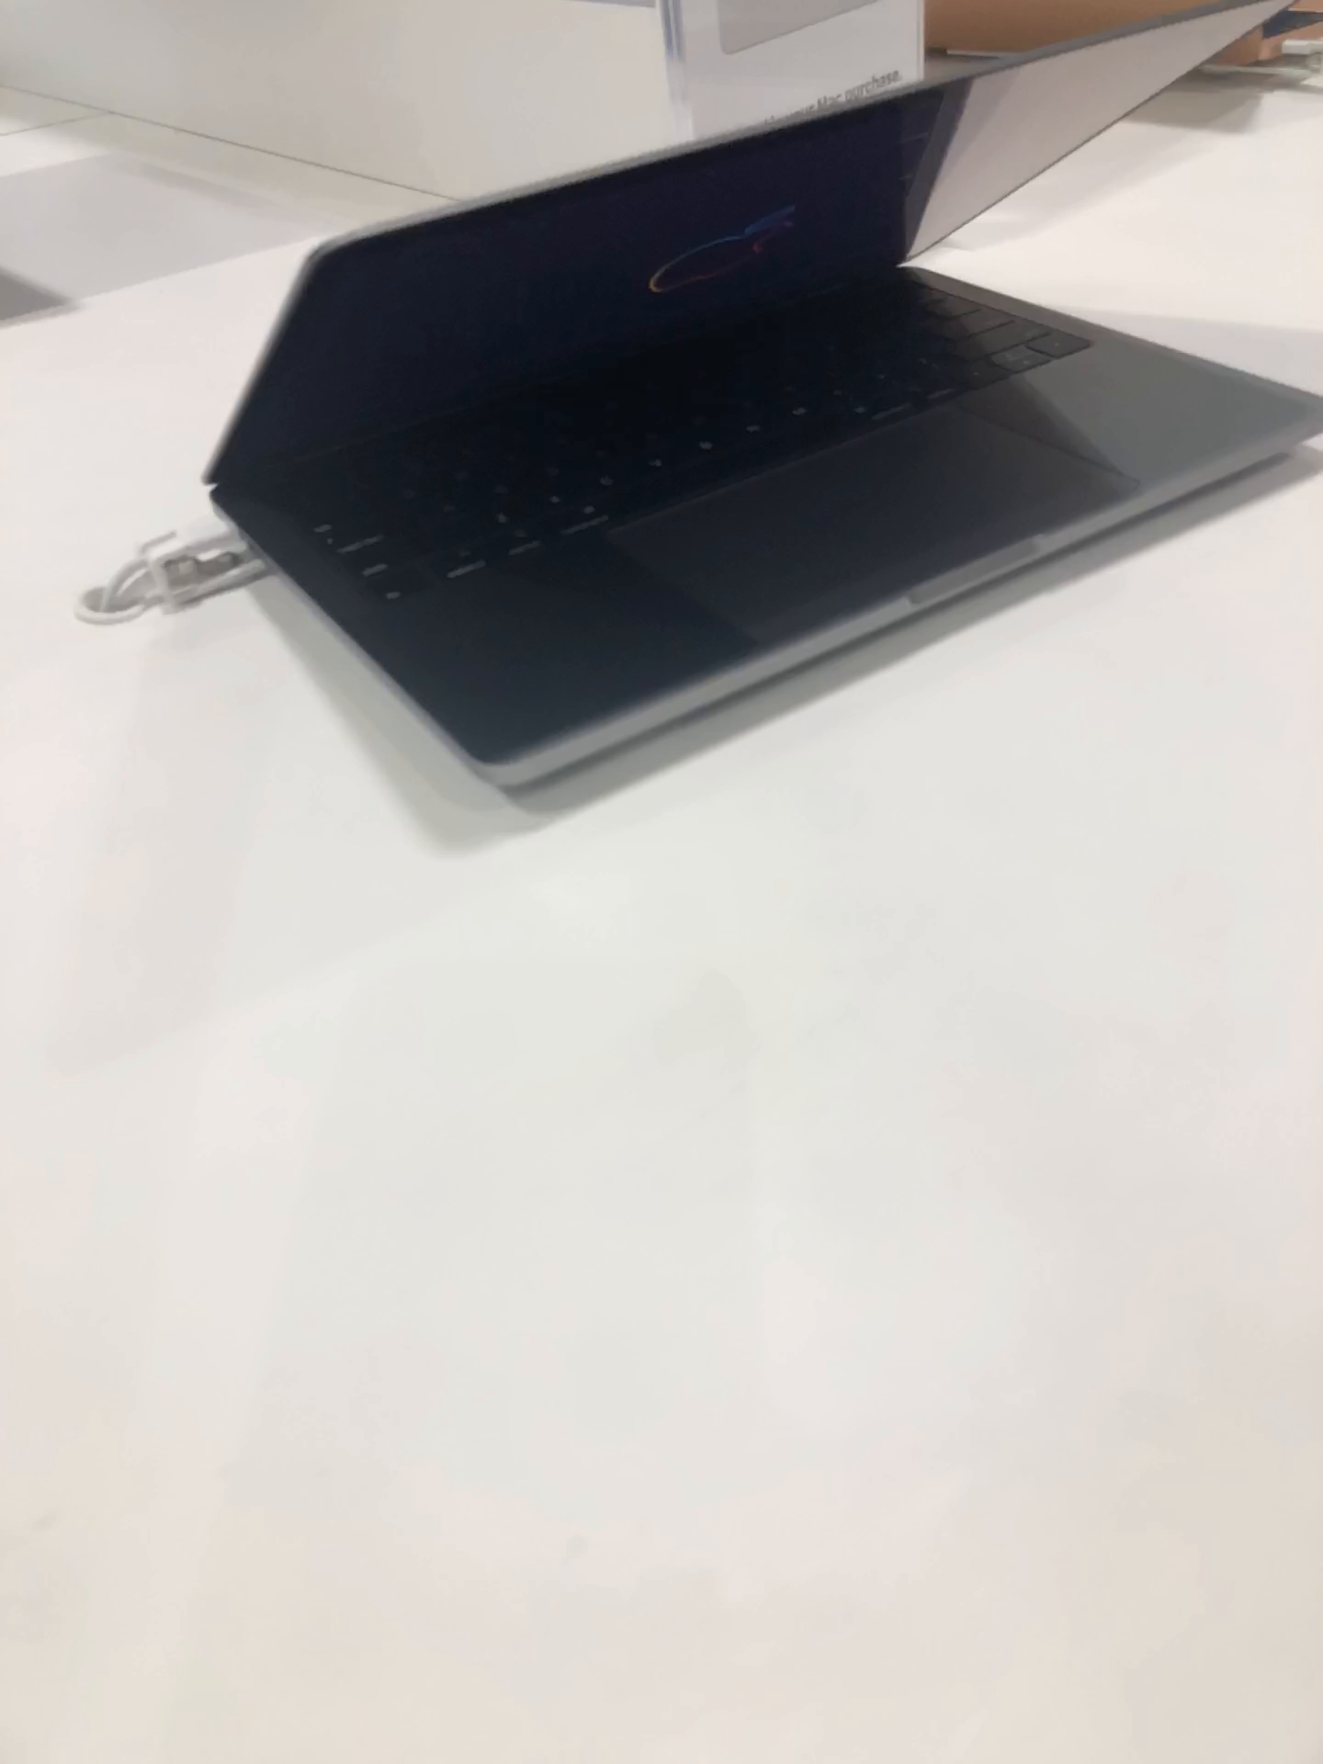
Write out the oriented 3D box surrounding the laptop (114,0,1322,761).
[{"bbox_3d":[0.025,-0.182,0.434,0.294,0.109,0.205,-26,43,-22],"label":"laptop"}]
